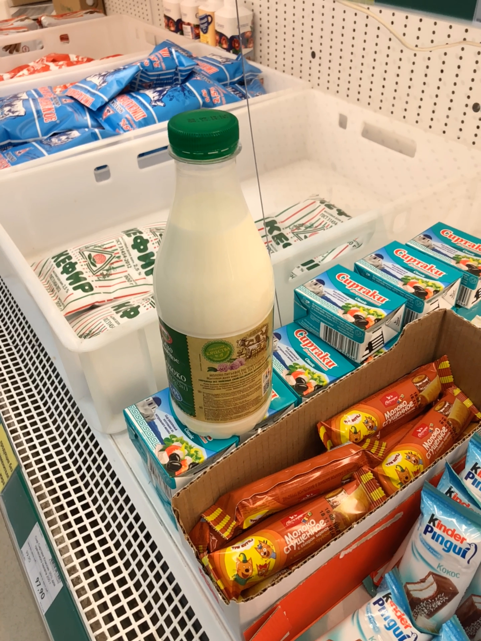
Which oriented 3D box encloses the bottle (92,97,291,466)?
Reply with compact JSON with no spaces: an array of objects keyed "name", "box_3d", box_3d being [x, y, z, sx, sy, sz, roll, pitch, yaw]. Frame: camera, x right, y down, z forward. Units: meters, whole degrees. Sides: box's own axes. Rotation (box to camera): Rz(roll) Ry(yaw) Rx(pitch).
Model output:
[{"name":"bottle","box_3d":[-0.024,-0.015,0.373,0.085,0.238,0.081,-2,41,2]}]
